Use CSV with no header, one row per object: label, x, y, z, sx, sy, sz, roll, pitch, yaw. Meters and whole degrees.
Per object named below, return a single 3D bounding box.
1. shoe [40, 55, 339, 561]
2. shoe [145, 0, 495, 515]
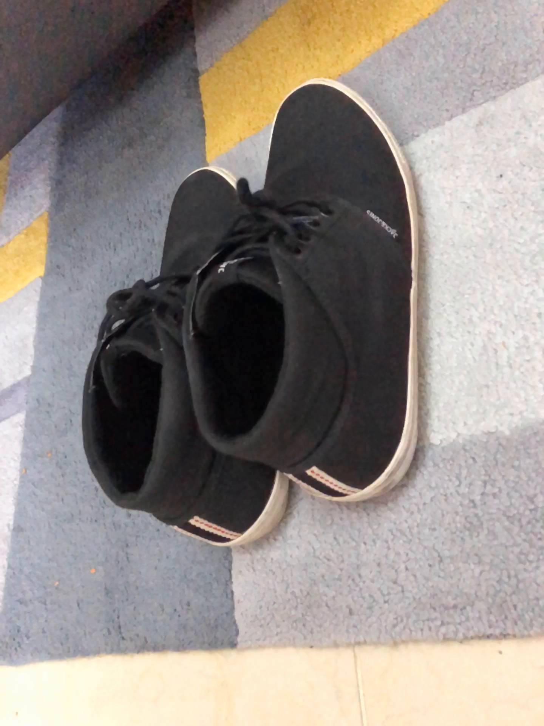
shoe,-0.055,-0.034,0.381,0.110,0.109,0.281,-26,56,32
shoe,0.024,-0.071,0.342,0.110,0.129,0.281,-20,60,35
